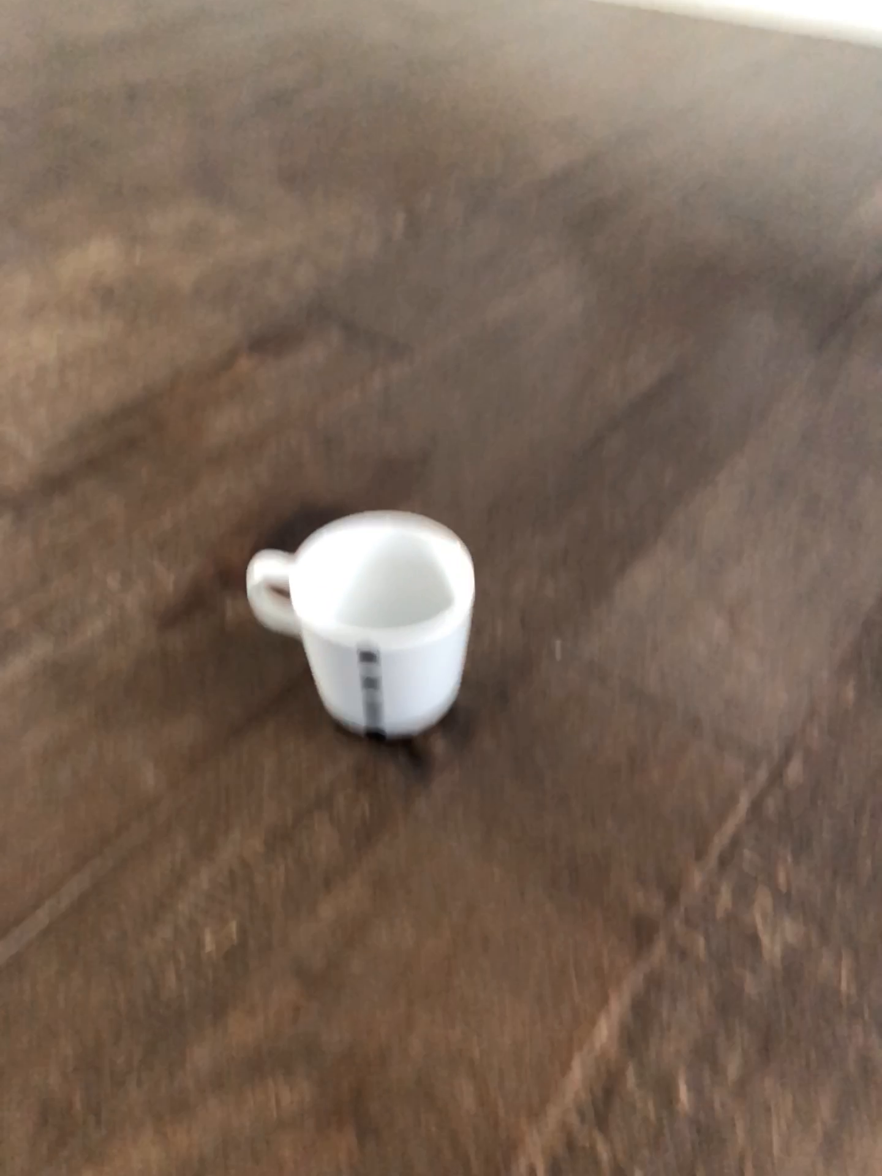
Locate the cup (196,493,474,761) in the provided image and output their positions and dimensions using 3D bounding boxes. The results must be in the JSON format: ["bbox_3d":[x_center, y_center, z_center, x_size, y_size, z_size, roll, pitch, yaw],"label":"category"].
[{"bbox_3d":[-0.044,0.017,0.469,0.110,0.079,0.091,4,42,5],"label":"cup"}]
